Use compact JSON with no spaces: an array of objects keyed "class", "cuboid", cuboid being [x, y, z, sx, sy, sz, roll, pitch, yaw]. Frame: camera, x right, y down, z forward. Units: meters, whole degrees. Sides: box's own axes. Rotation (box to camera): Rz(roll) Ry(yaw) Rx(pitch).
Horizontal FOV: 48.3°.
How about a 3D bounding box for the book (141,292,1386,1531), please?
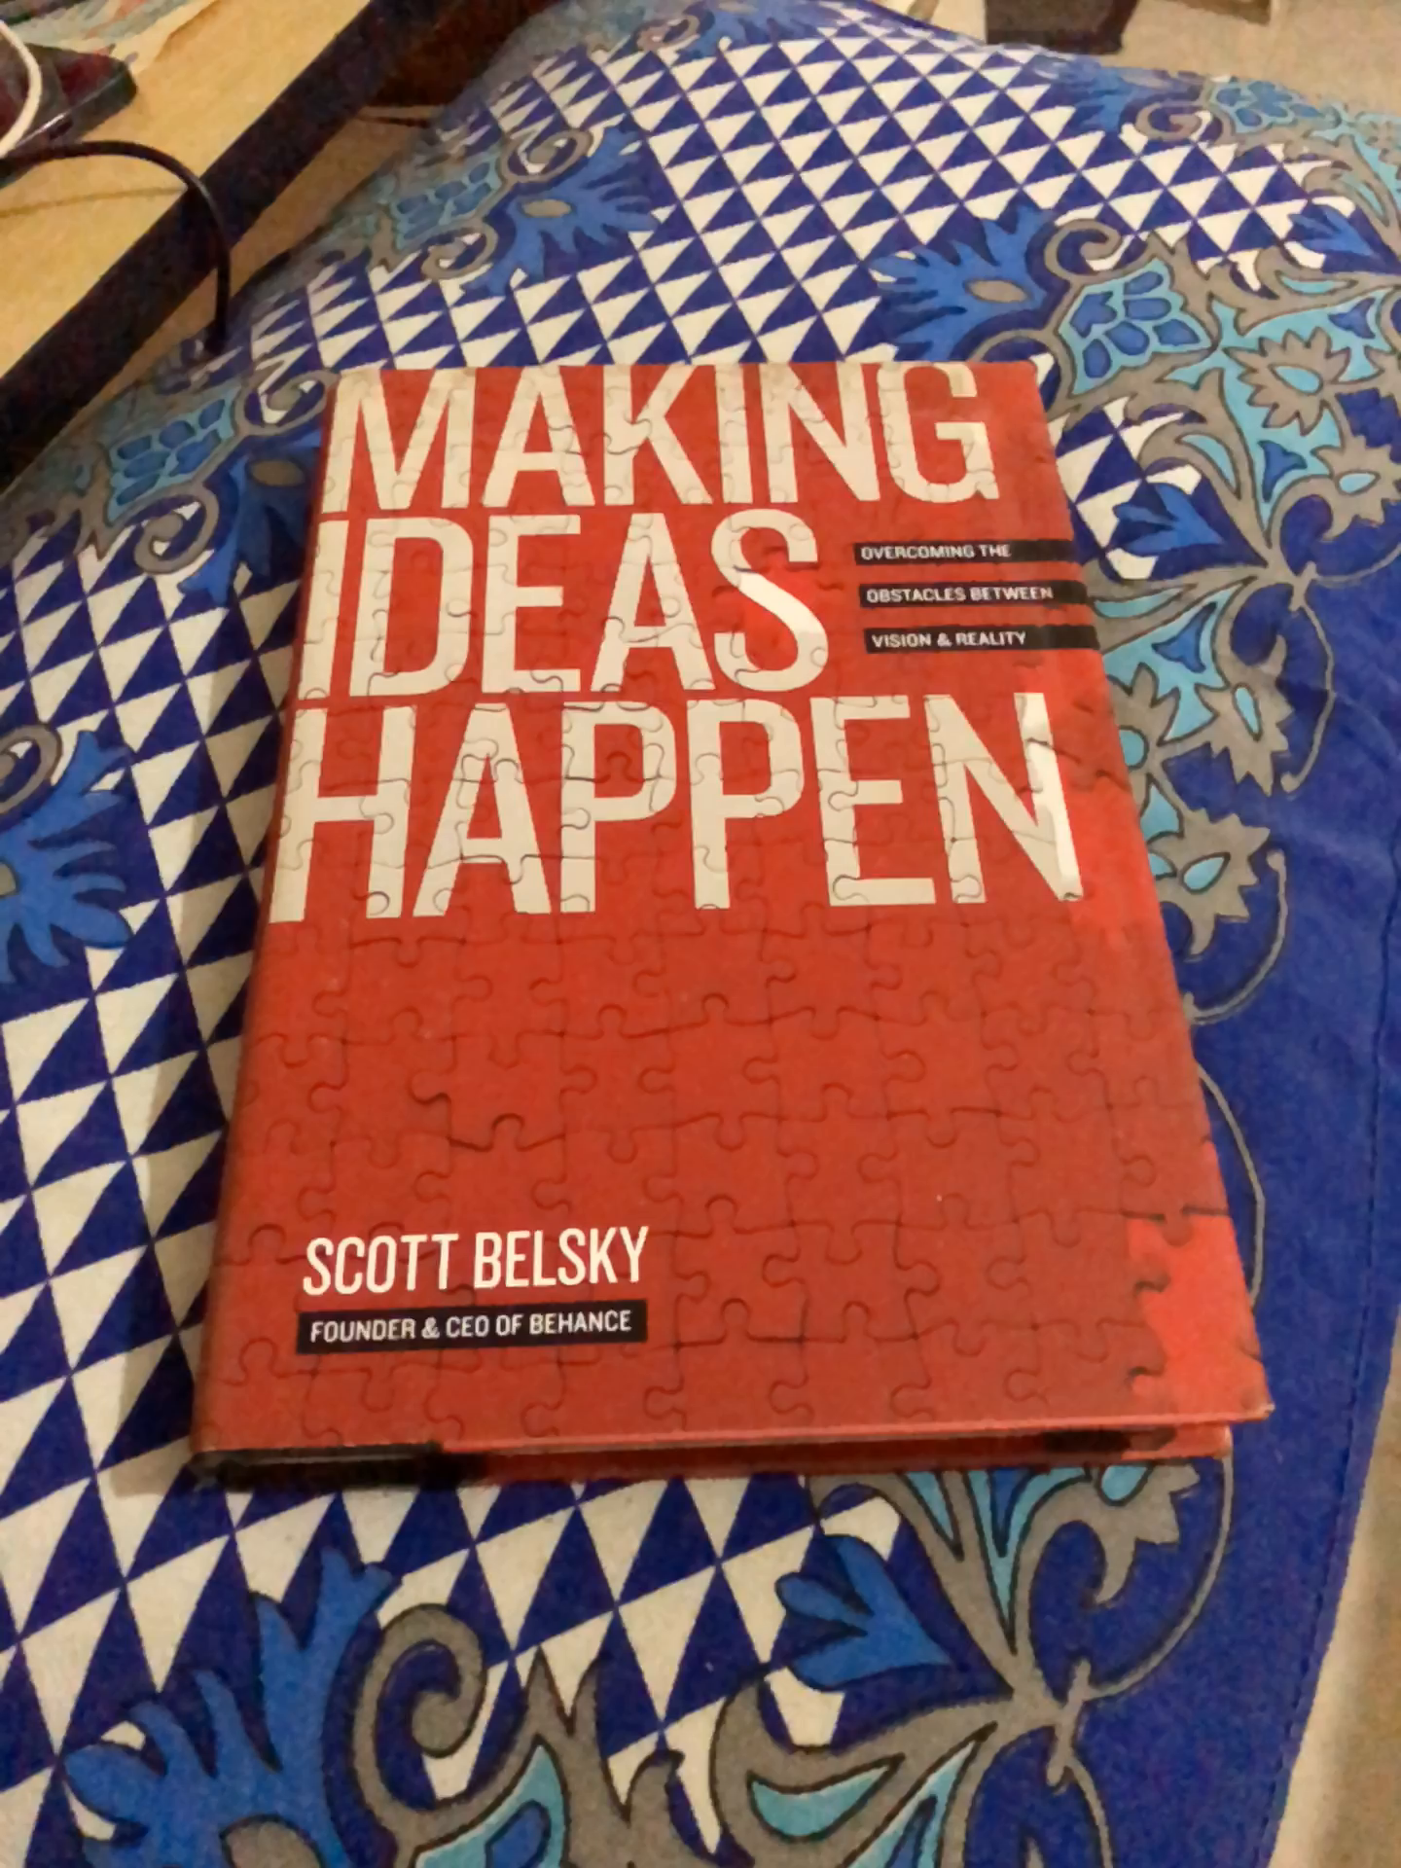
[{"class":"book","cuboid":[0.003,-0.029,0.284,0.160,0.030,0.251,-2,55,-2]}]
